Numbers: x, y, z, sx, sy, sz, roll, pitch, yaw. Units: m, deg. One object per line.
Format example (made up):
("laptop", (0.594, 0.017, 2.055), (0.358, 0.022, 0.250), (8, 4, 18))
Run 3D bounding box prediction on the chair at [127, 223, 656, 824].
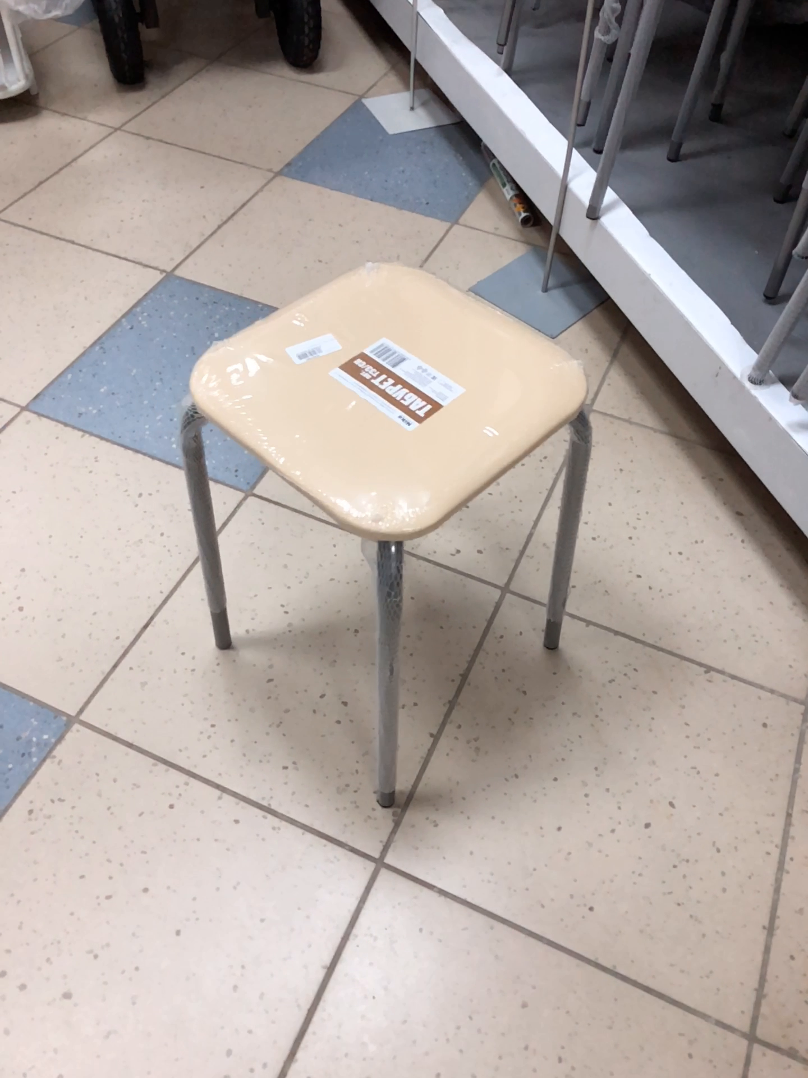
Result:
("chair", (-0.020, -0.010, 0.932), (0.311, 0.437, 0.341), (-36, 61, -28))
